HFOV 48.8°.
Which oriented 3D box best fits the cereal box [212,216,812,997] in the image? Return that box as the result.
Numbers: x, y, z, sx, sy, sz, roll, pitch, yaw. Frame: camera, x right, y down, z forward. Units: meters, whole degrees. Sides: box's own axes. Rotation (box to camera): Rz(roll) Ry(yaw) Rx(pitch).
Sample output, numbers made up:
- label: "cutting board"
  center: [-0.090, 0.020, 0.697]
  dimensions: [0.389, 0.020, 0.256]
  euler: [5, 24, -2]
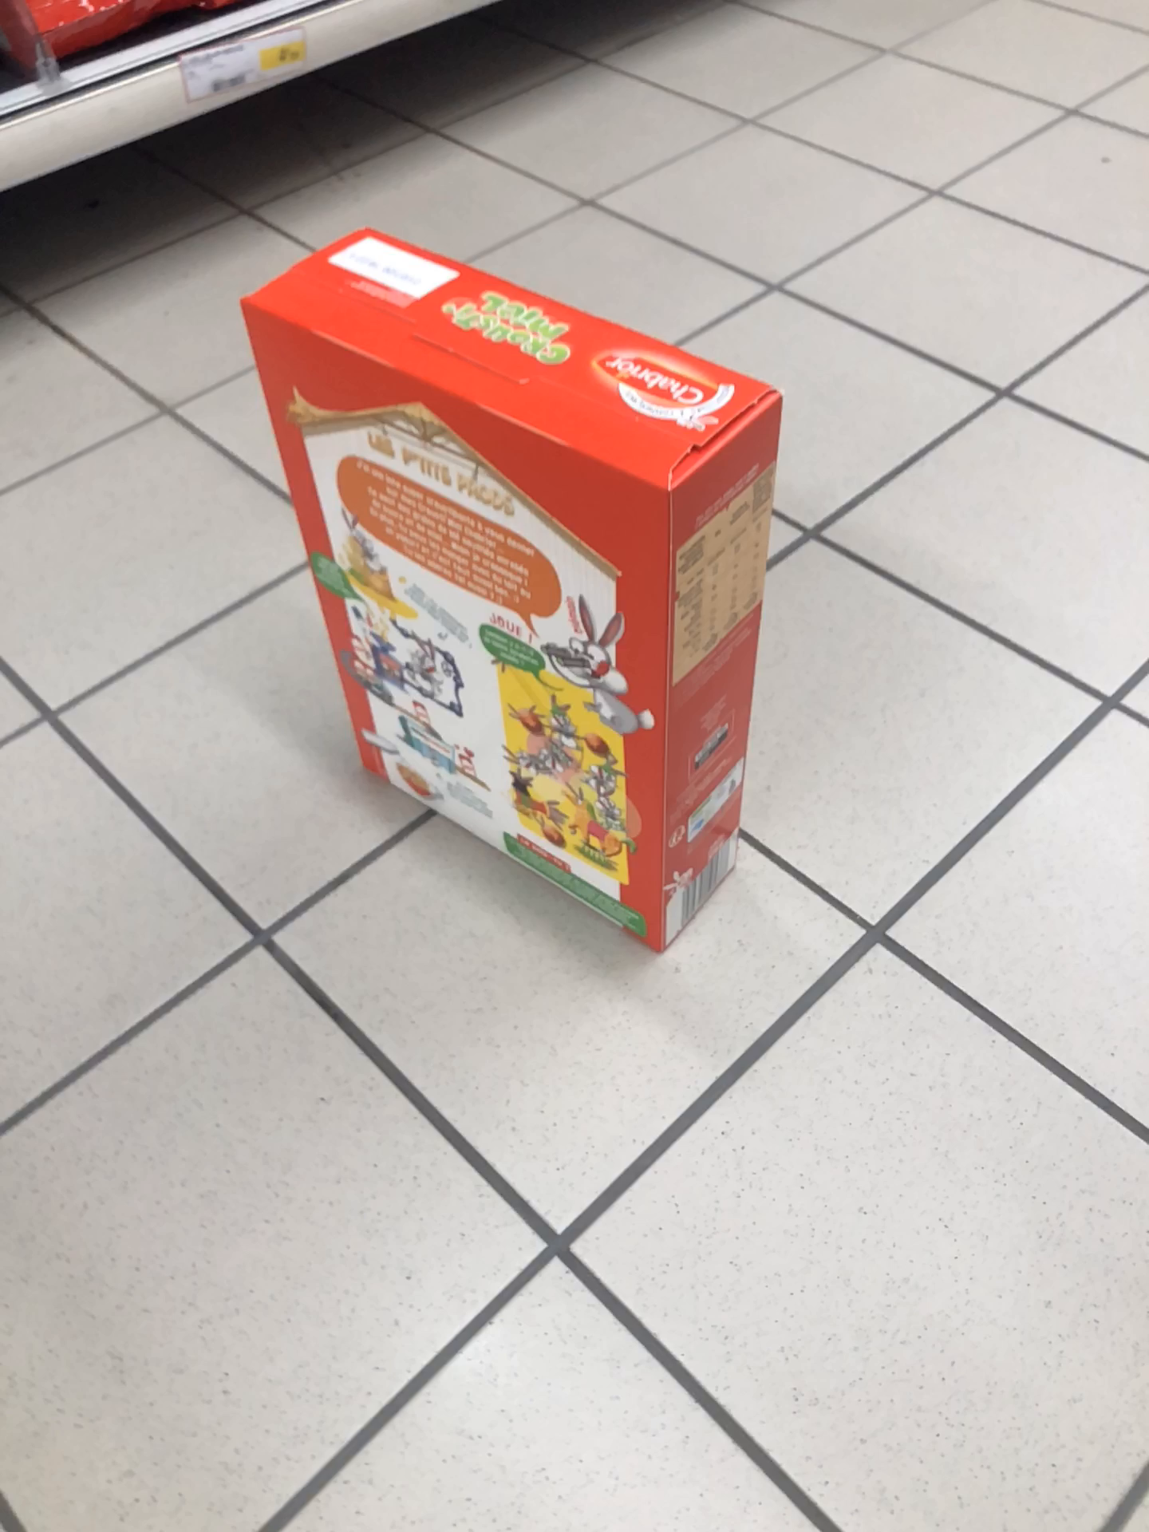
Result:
- label: "cereal box"
  center: [-0.022, -0.052, 0.518]
  dimensions: [0.200, 0.268, 0.070]
  euler: [30, 57, 25]
